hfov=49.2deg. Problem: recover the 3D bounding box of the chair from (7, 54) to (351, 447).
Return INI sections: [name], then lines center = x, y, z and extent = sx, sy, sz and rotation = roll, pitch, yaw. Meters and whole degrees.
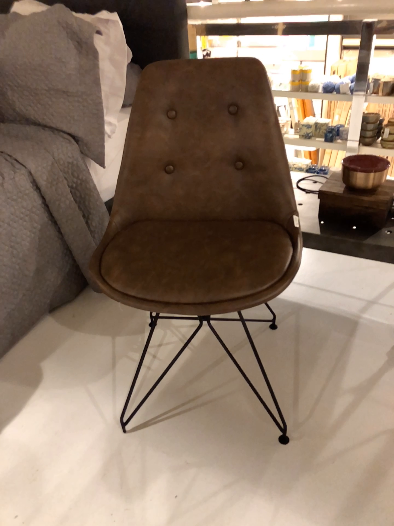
[chair]
center = 0.015, -0.050, 1.061
extent = 0.510, 0.754, 0.554
rotation = 1, 33, 8
